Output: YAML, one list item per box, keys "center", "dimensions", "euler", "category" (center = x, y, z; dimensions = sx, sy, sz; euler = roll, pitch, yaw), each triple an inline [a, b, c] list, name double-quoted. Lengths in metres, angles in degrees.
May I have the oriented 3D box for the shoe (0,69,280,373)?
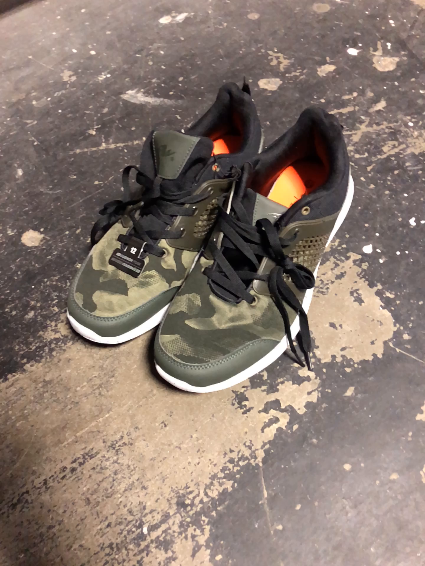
- center: [-0.053, -0.075, 0.497]
  dimensions: [0.110, 0.119, 0.301]
  euler: [28, 65, 22]
  category: "shoe"

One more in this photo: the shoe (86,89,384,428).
- center: [0.035, -0.030, 0.430]
  dimensions: [0.110, 0.129, 0.271]
  euler: [28, 65, 22]
  category: "shoe"
